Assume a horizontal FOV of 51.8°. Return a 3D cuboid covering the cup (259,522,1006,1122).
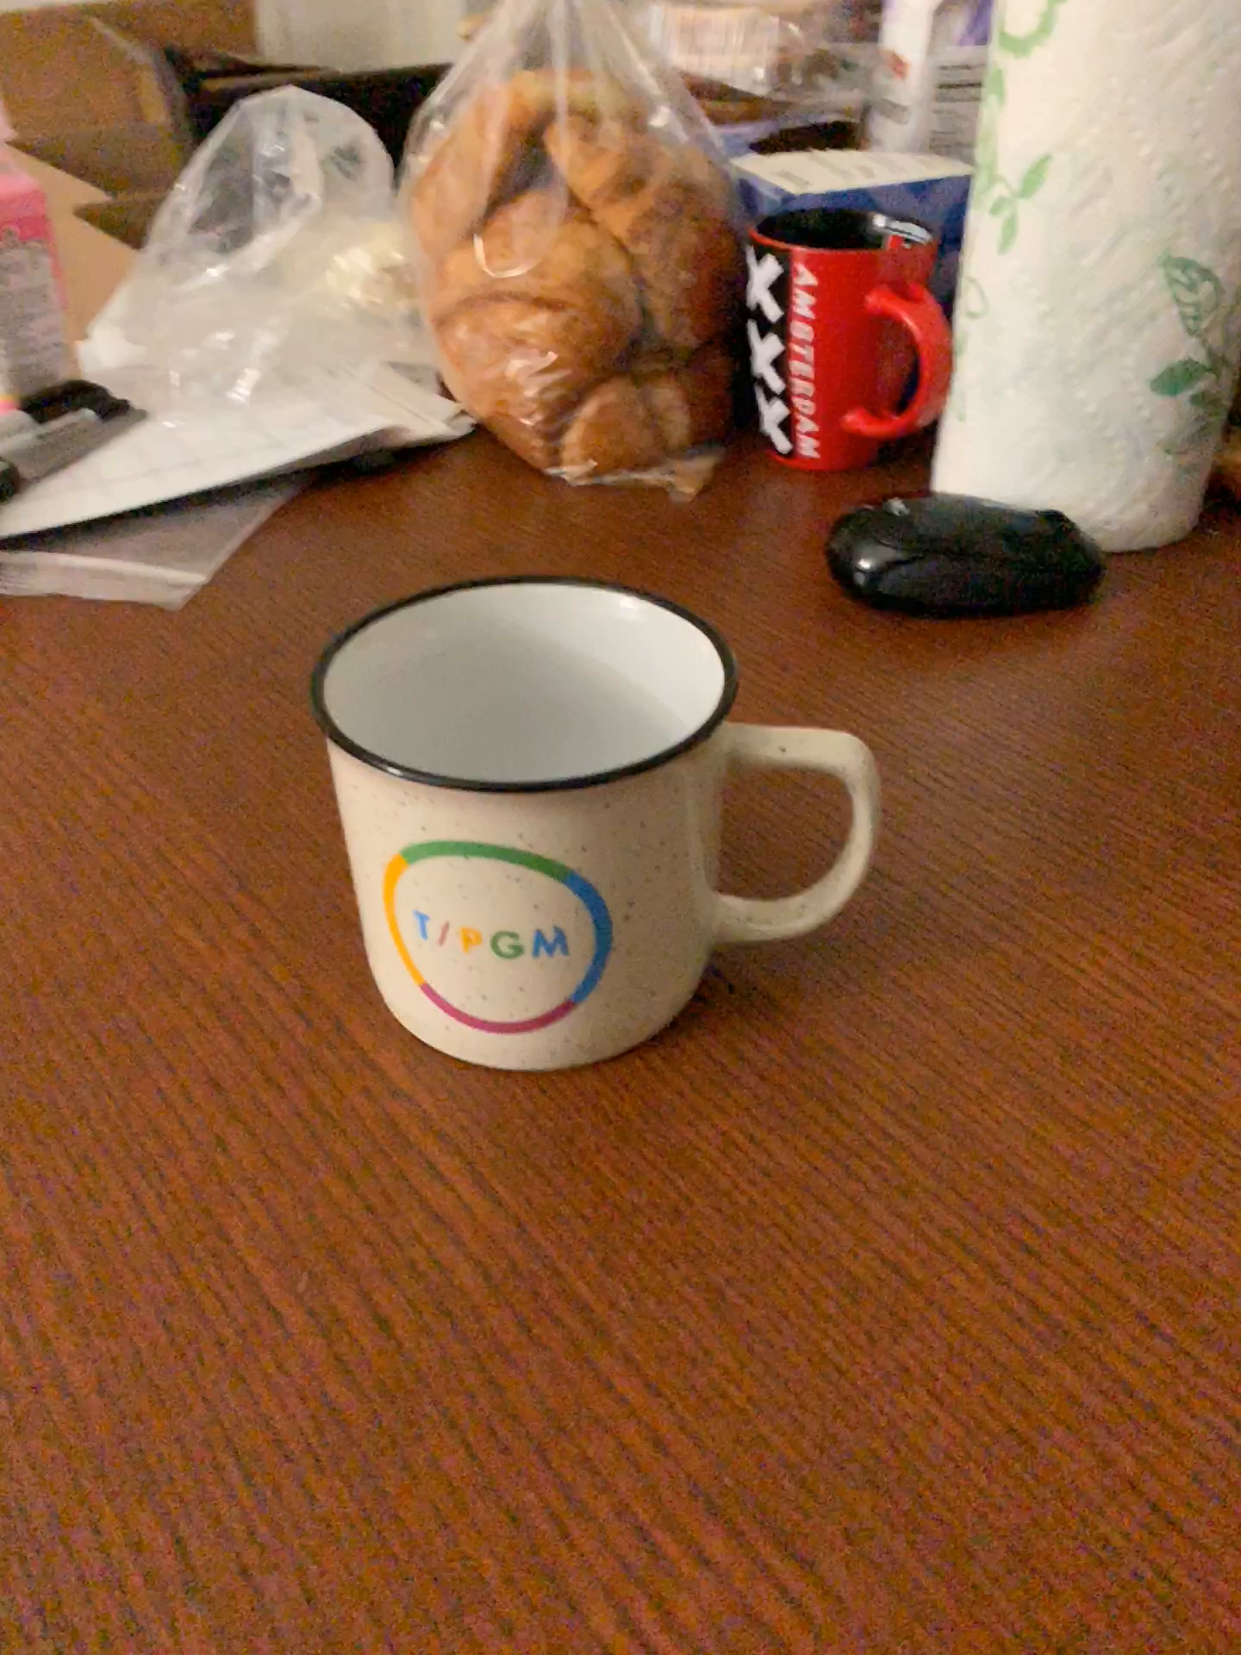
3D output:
[{"bbox_3d":[0.007,-0.006,0.323,0.150,0.099,0.101,5,37,7],"label":"cup"}]
